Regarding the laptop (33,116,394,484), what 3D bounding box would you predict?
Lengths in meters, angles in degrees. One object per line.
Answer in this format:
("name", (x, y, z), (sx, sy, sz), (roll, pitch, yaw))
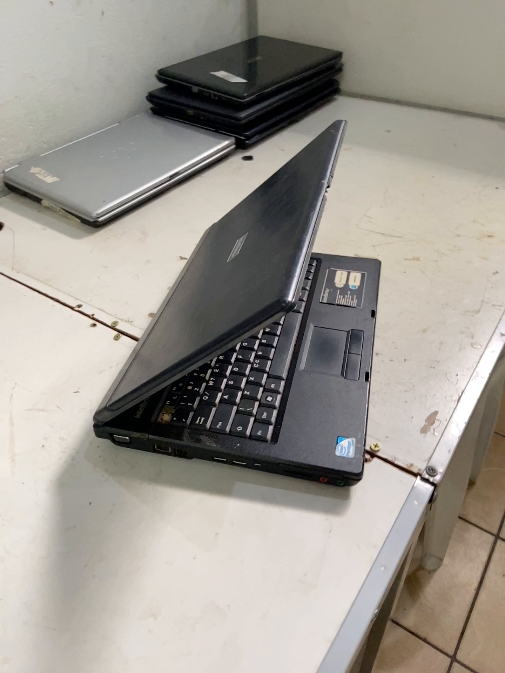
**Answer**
("laptop", (0.002, -0.067, 0.506), (0.235, 0.168, 0.326), (8, 41, 10))
